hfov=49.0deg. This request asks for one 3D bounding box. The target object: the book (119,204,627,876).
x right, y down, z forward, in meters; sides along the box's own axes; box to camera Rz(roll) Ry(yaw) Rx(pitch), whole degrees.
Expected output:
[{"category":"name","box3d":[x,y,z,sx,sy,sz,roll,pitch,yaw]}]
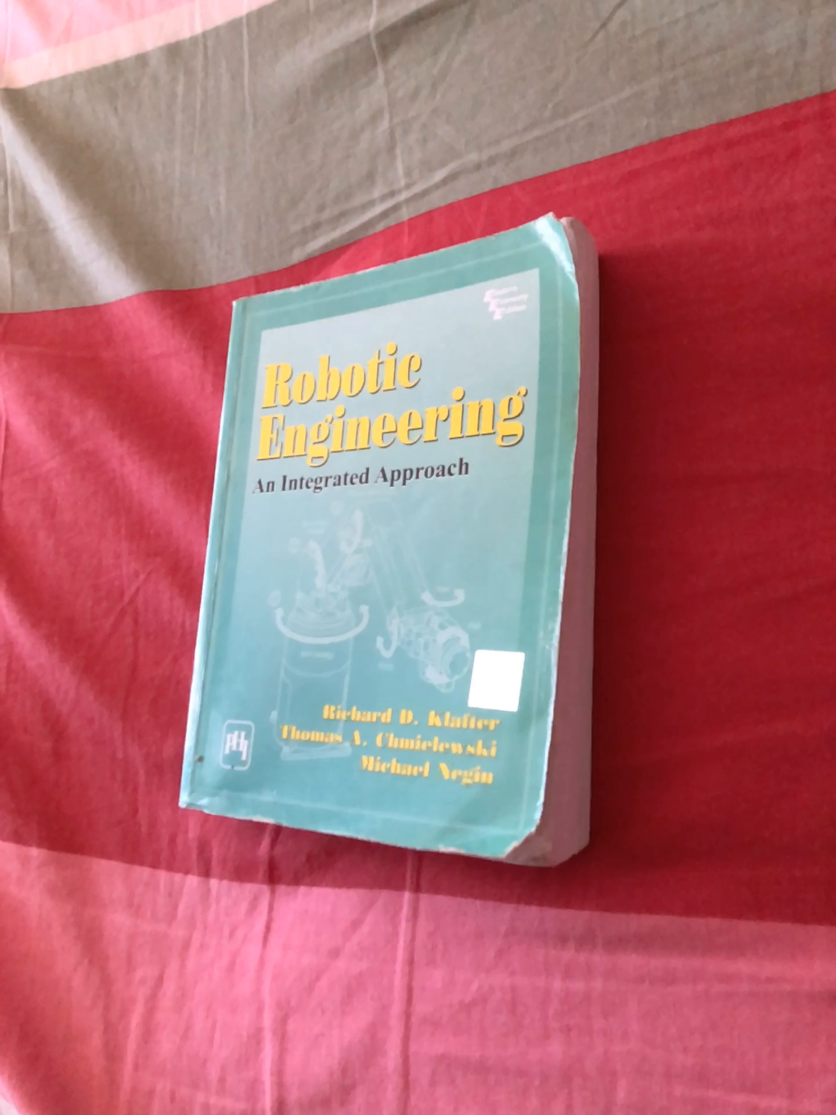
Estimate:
[{"category":"book","box3d":[-0.018,-0.005,0.333,0.172,0.043,0.204,-3,76,31]}]
